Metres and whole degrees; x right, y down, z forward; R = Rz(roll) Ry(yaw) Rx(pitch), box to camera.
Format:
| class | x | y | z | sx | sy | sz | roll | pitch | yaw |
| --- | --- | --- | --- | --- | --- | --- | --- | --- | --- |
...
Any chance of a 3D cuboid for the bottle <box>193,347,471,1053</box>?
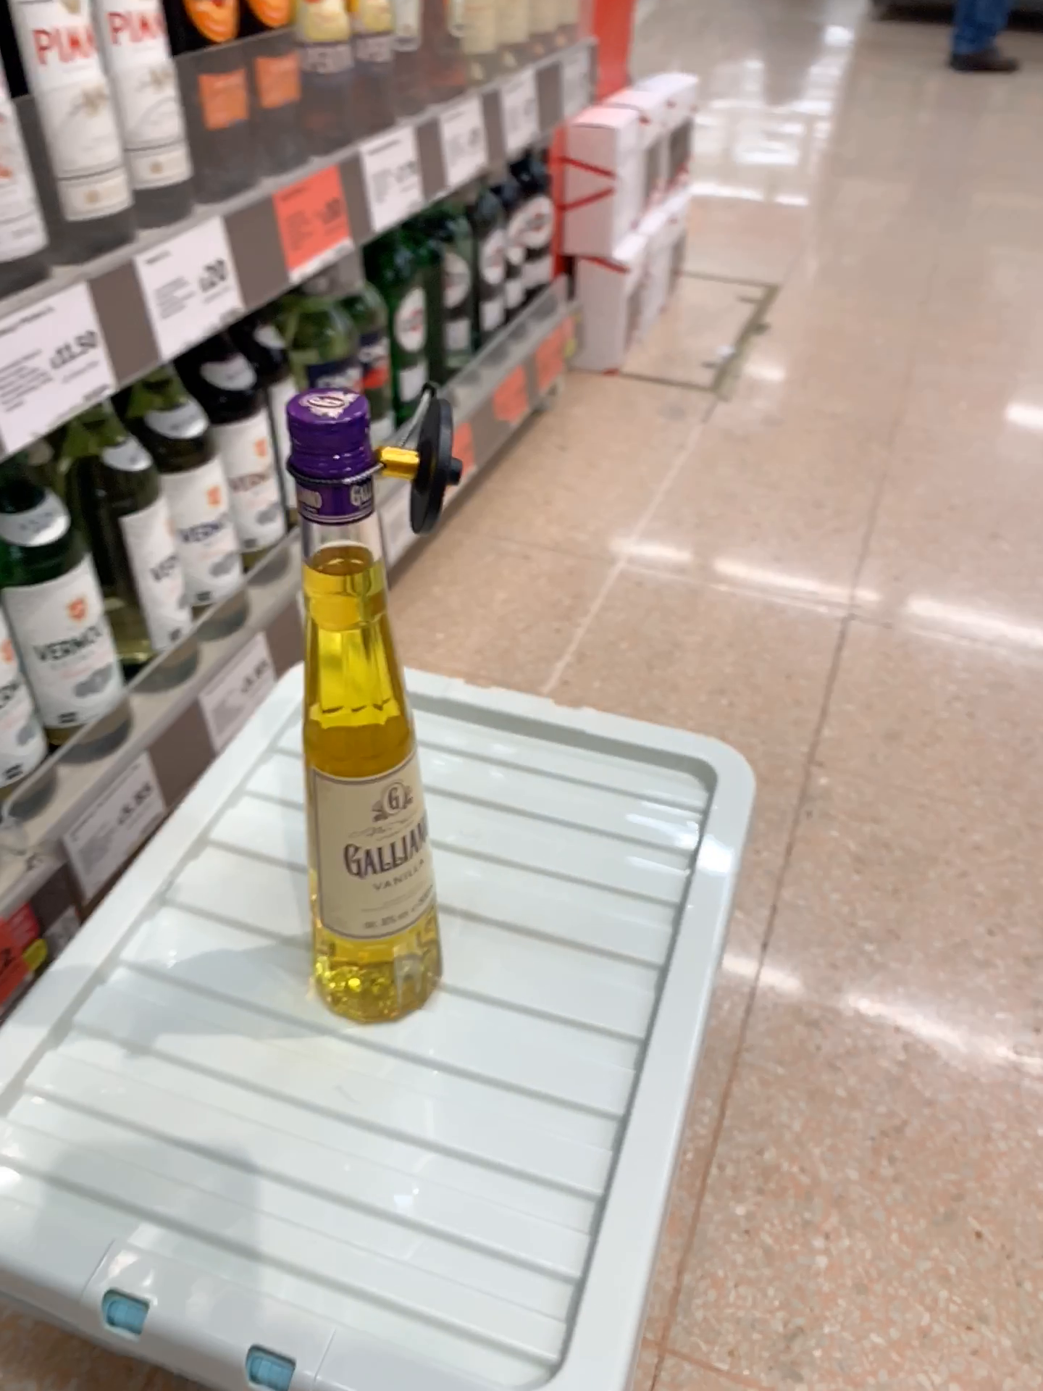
| class | x | y | z | sx | sy | sz | roll | pitch | yaw |
| --- | --- | --- | --- | --- | --- | --- | --- | --- | --- |
| bottle | -0.075 | 0.025 | 0.509 | 0.070 | 0.347 | 0.073 | 1 | 39 | -1 |
